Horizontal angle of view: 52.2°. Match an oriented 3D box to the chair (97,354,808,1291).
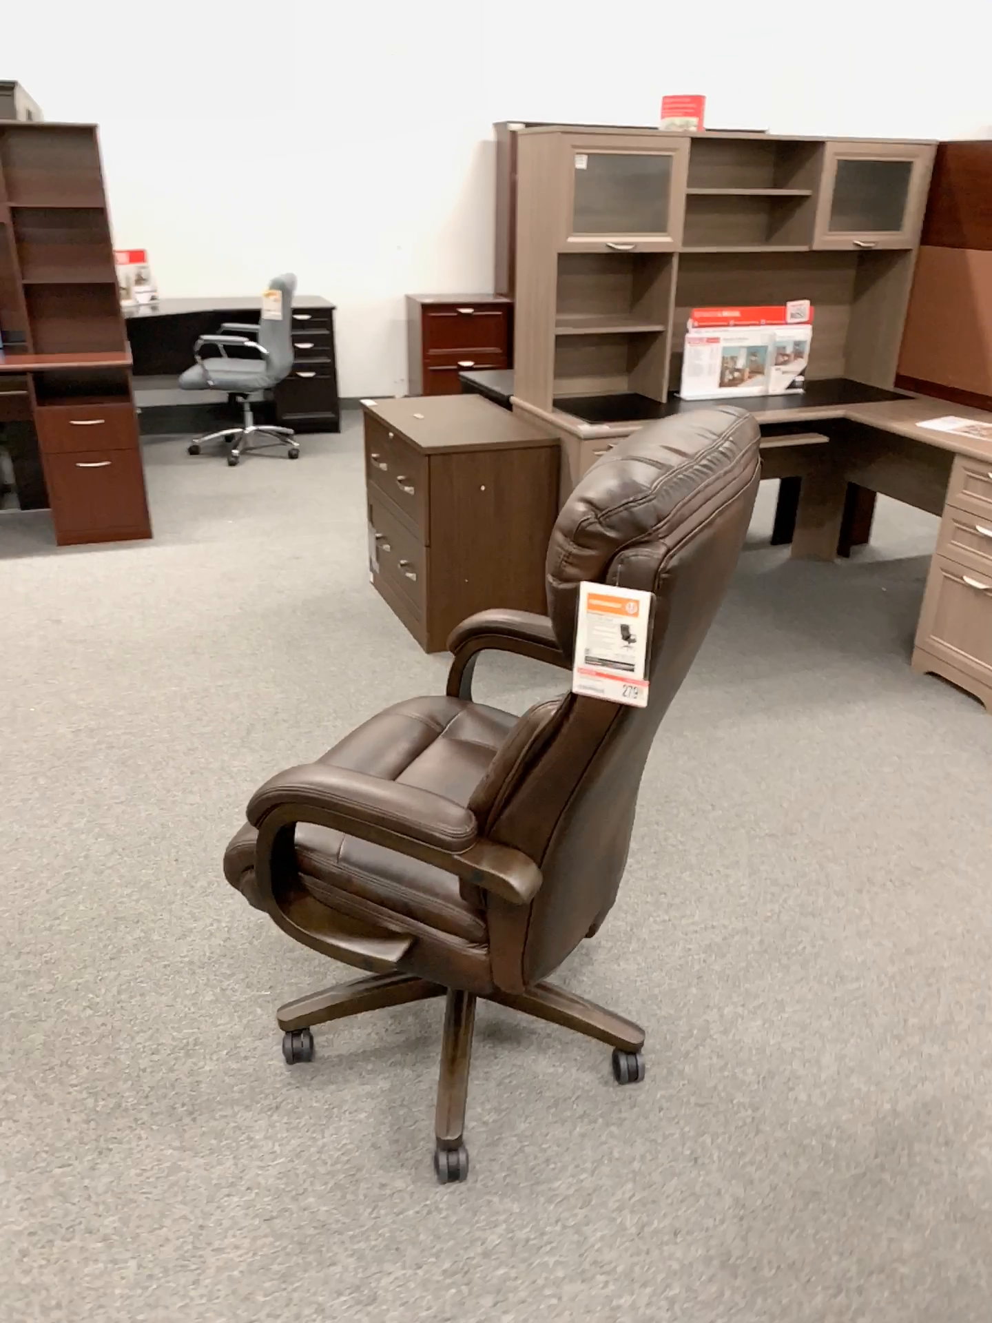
[{"bbox_3d":[-0.004,0.159,1.602,0.701,1.095,0.753,12,27,22],"label":"chair"}]
